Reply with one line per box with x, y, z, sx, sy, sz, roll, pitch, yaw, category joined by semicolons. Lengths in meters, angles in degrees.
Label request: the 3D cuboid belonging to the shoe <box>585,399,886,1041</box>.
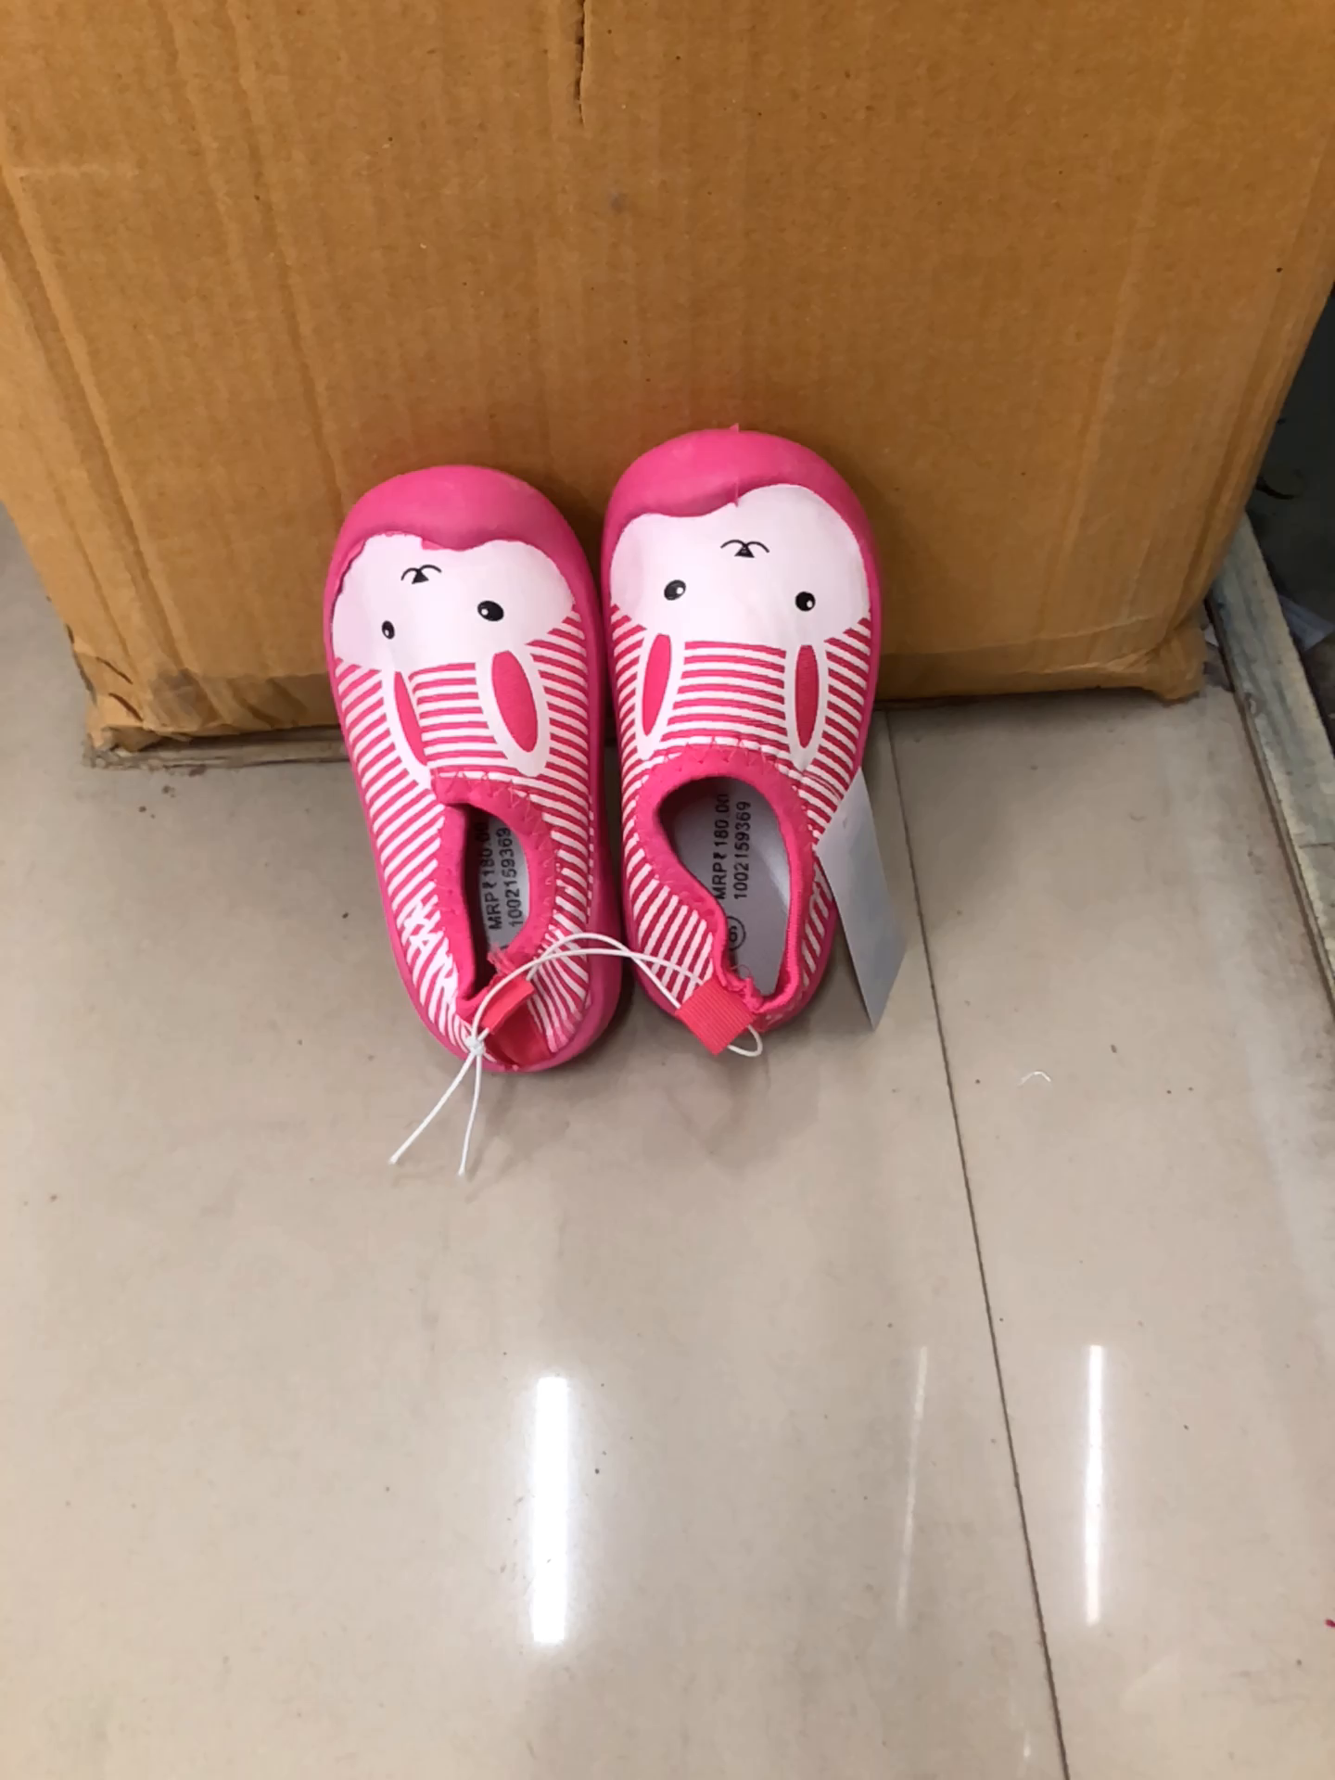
0.021;-0.042;0.387;0.069;0.082;0.148;0;95;7;shoe

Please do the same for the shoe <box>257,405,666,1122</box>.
-0.049;-0.031;0.382;0.069;0.082;0.156;-9;94;-2;shoe
